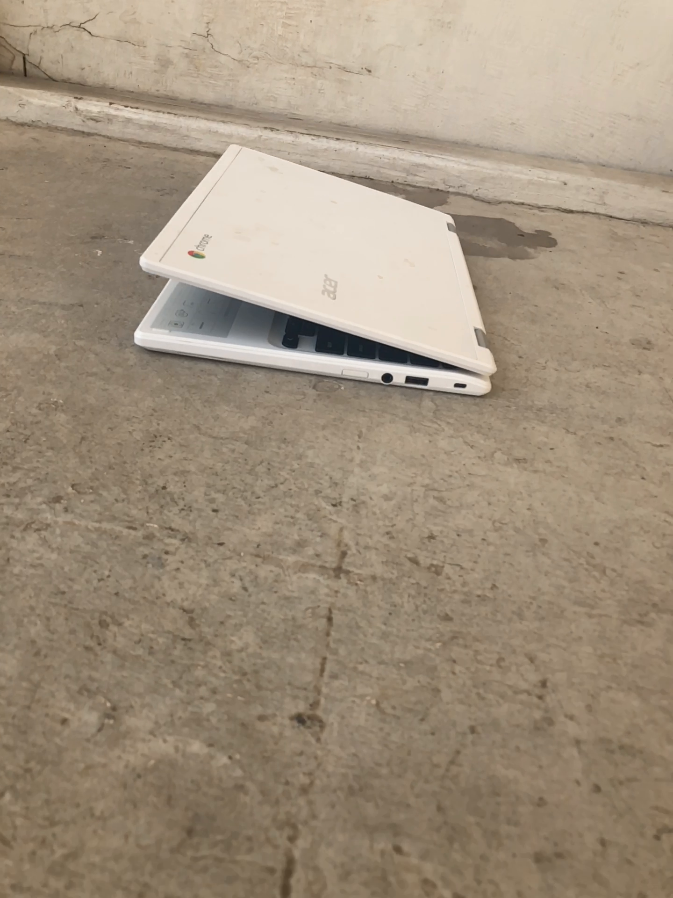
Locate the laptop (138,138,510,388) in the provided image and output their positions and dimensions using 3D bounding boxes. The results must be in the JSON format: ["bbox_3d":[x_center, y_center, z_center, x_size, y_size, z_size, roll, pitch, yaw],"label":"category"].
[{"bbox_3d":[0.001,-0.143,0.502,0.190,0.046,0.280,9,33,-2],"label":"laptop"}]
